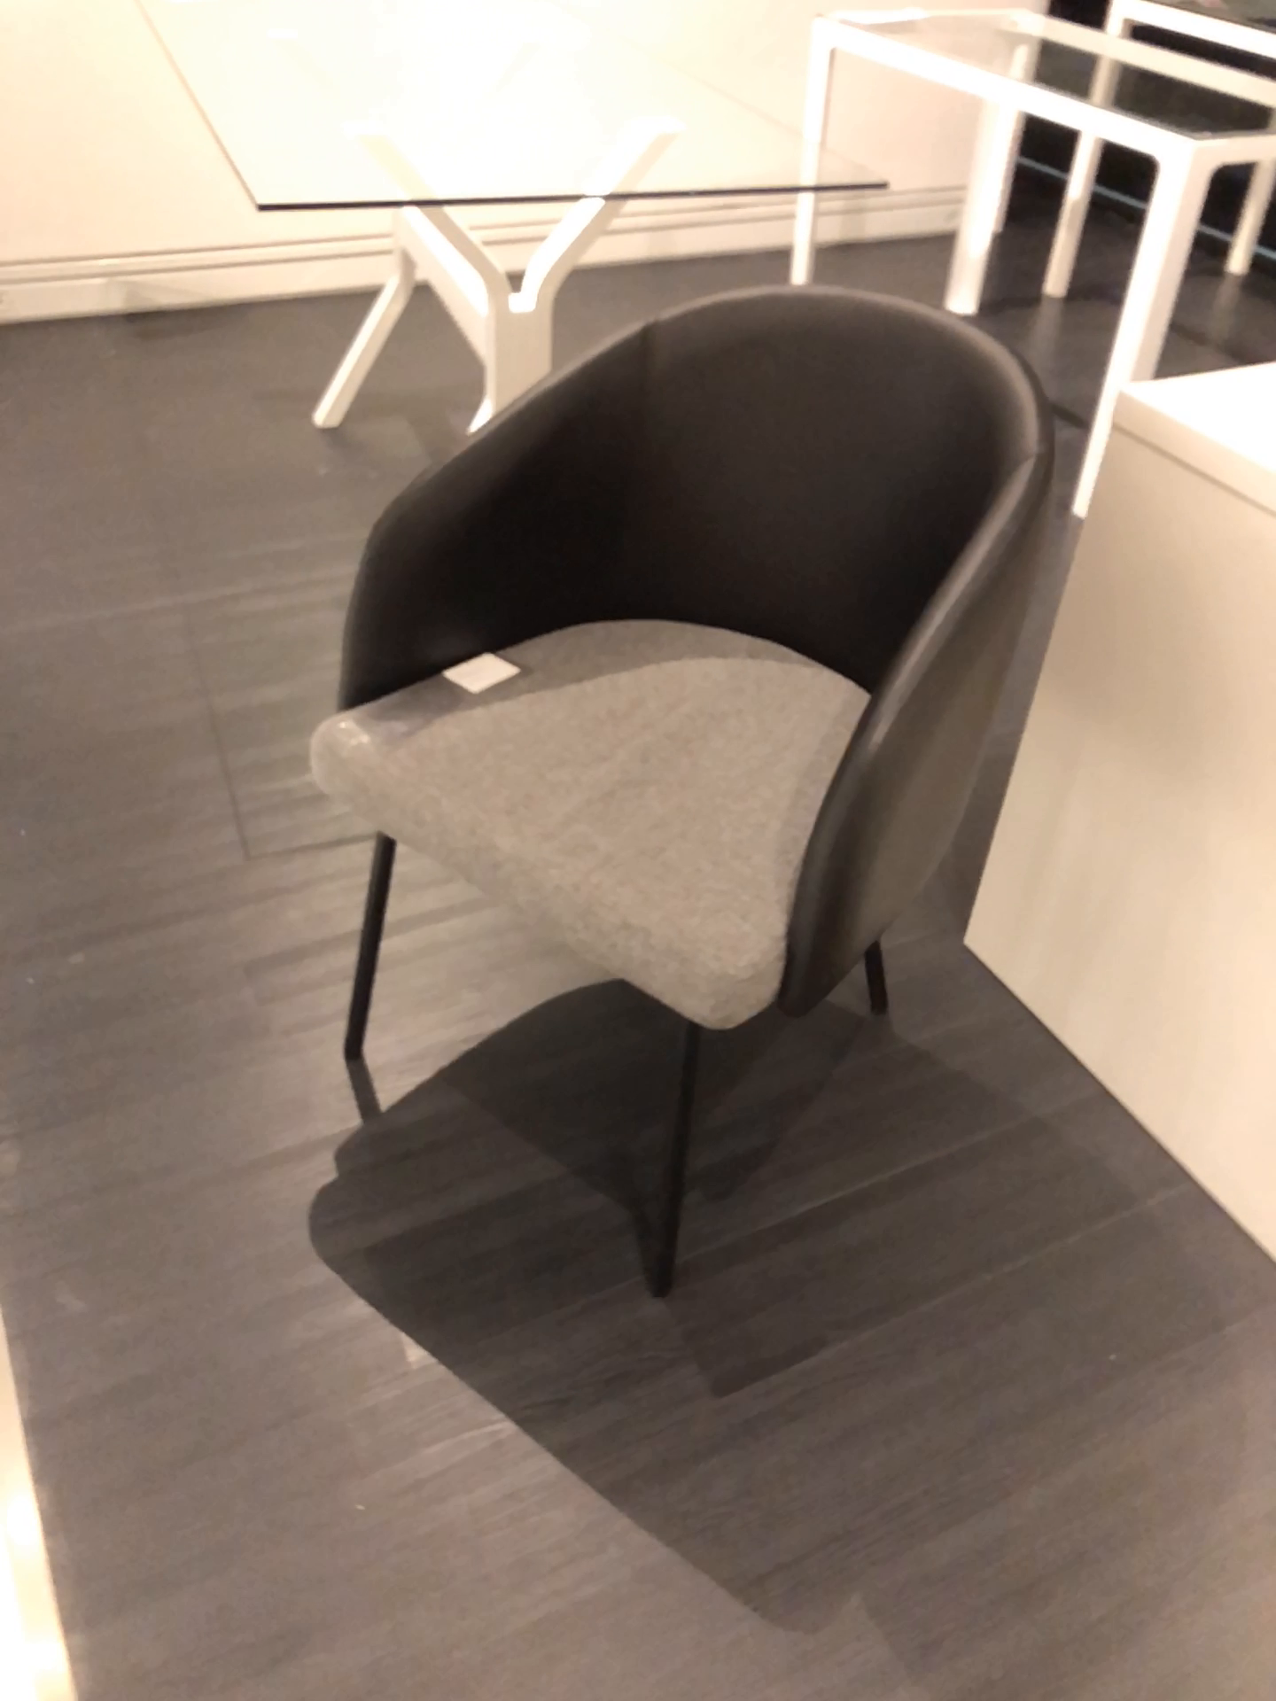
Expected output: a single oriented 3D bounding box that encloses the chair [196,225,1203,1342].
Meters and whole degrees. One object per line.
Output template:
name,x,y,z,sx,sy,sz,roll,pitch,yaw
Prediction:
chair,0.043,-0.106,1.419,0.612,0.764,0.593,30,45,29
